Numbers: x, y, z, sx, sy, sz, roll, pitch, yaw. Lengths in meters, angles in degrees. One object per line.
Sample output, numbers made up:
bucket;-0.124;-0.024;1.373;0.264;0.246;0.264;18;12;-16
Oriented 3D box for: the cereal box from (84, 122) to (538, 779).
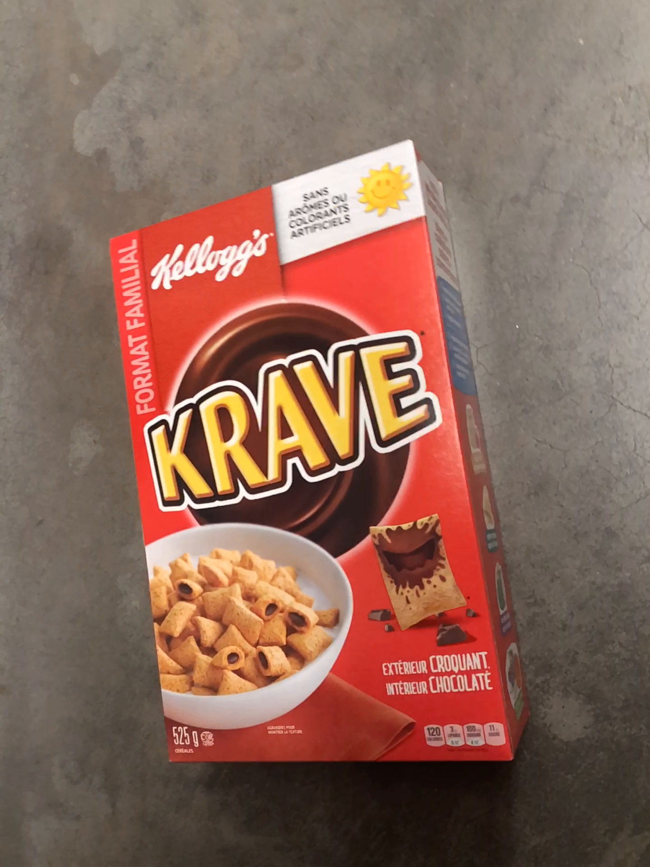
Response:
cereal box;-0.013;0.020;0.403;0.201;0.070;0.310;-11;85;22
